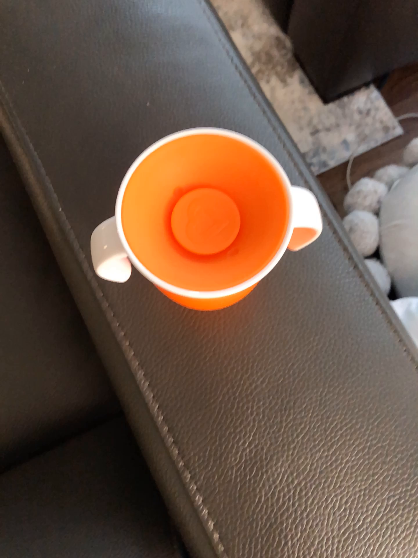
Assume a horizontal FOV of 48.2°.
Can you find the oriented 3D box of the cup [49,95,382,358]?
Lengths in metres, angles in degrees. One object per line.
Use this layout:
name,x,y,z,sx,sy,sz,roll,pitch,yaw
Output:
cup,0.001,-0.019,0.249,0.126,0.096,0.082,-15,77,-4
